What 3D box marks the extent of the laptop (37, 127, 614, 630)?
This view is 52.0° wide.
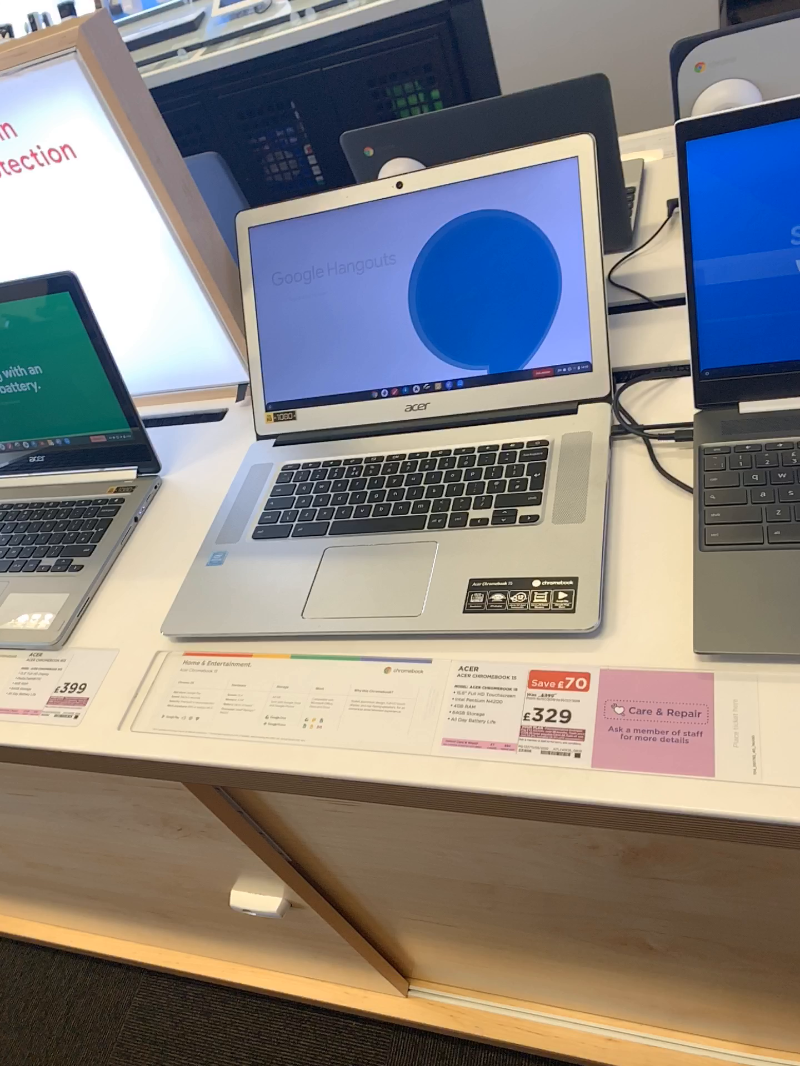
[{"bbox_3d":[-0.021,-0.143,0.731,0.375,0.168,0.433,-4,46,21],"label":"laptop"}]
